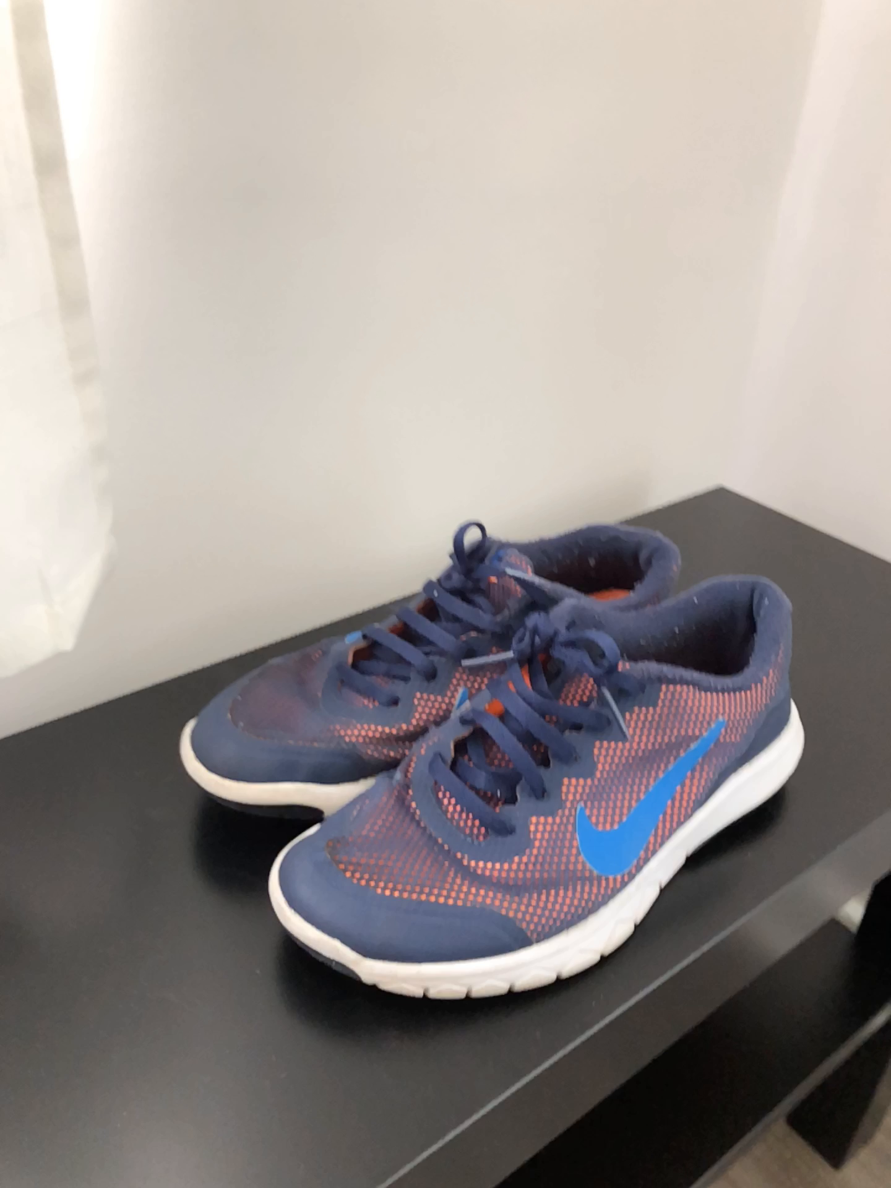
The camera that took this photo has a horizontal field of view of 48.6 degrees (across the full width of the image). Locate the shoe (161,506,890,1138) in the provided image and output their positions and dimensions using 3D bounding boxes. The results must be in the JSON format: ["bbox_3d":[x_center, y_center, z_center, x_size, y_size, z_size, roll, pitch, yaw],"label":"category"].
[{"bbox_3d":[0.042,0.059,0.383,0.260,0.089,0.120,-21,38,-36],"label":"shoe"}]

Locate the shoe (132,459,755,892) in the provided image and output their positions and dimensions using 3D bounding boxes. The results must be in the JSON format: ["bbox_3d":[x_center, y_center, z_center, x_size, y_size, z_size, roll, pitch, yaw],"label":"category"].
[{"bbox_3d":[0.007,0.020,0.451,0.260,0.089,0.100,-17,35,-31],"label":"shoe"}]
